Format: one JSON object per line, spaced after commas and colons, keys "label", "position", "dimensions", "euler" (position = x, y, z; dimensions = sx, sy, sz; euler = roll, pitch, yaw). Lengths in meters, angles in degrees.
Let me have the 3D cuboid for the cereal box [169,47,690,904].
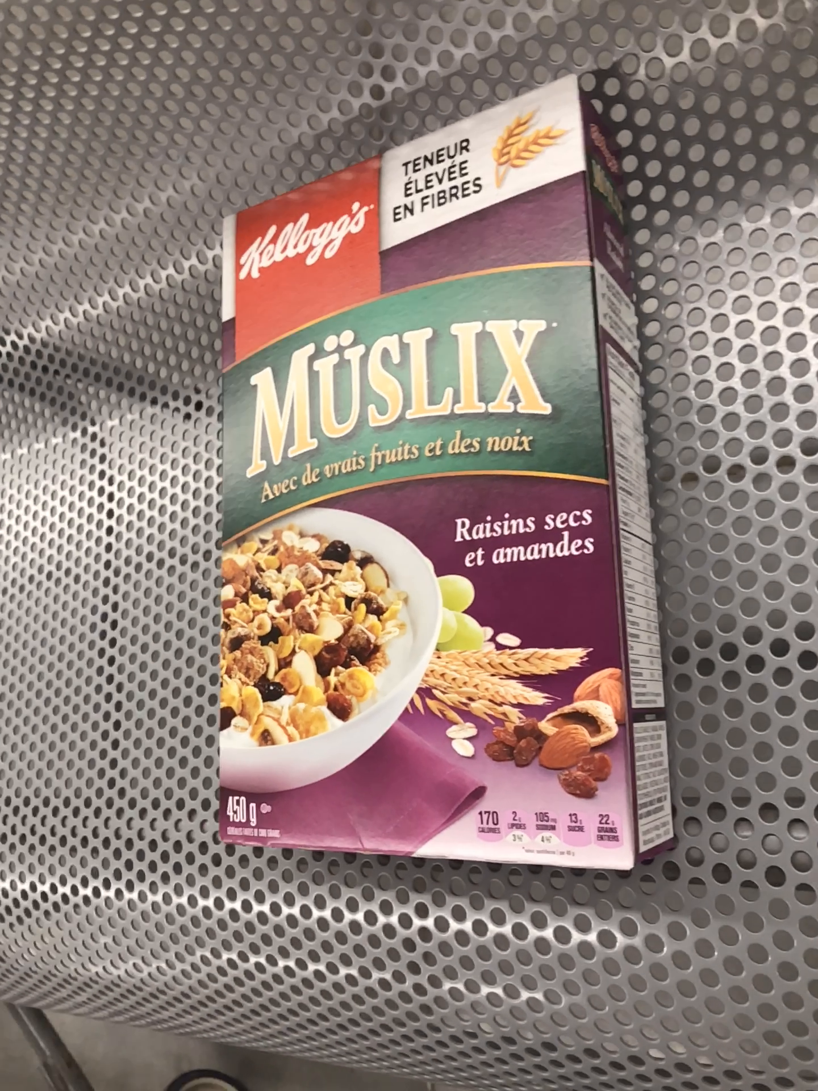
{"label": "cereal box", "position": [-0.004, -0.018, 0.334], "dimensions": [0.181, 0.050, 0.260], "euler": [-8, 77, 32]}
